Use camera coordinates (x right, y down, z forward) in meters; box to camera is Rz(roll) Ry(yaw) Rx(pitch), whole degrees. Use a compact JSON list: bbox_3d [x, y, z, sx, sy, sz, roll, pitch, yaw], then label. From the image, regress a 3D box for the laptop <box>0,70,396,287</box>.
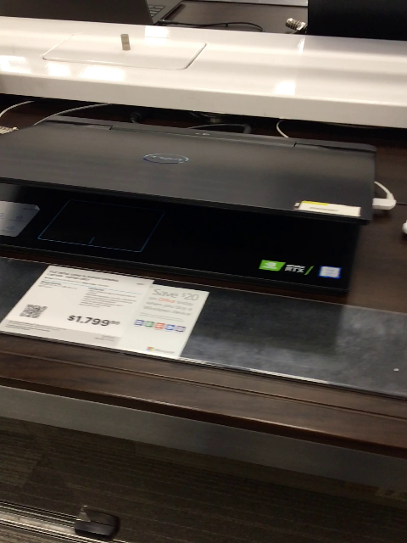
[{"bbox_3d":[-0.035,-0.124,0.610,0.452,0.085,0.252,9,46,10],"label":"laptop"}]
